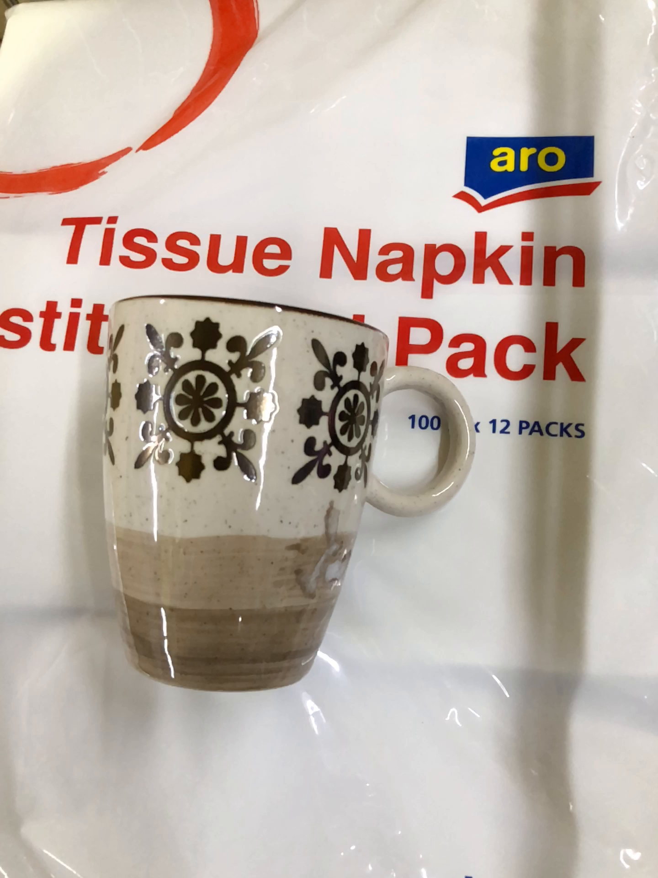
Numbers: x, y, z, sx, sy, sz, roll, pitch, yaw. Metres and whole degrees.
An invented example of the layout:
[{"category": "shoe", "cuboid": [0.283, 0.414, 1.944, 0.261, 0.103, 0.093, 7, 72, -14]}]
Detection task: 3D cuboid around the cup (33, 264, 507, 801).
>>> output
[{"category": "cup", "cuboid": [-0.019, 0.025, 0.201, 0.100, 0.070, 0.110, 8, 87, -23]}]
